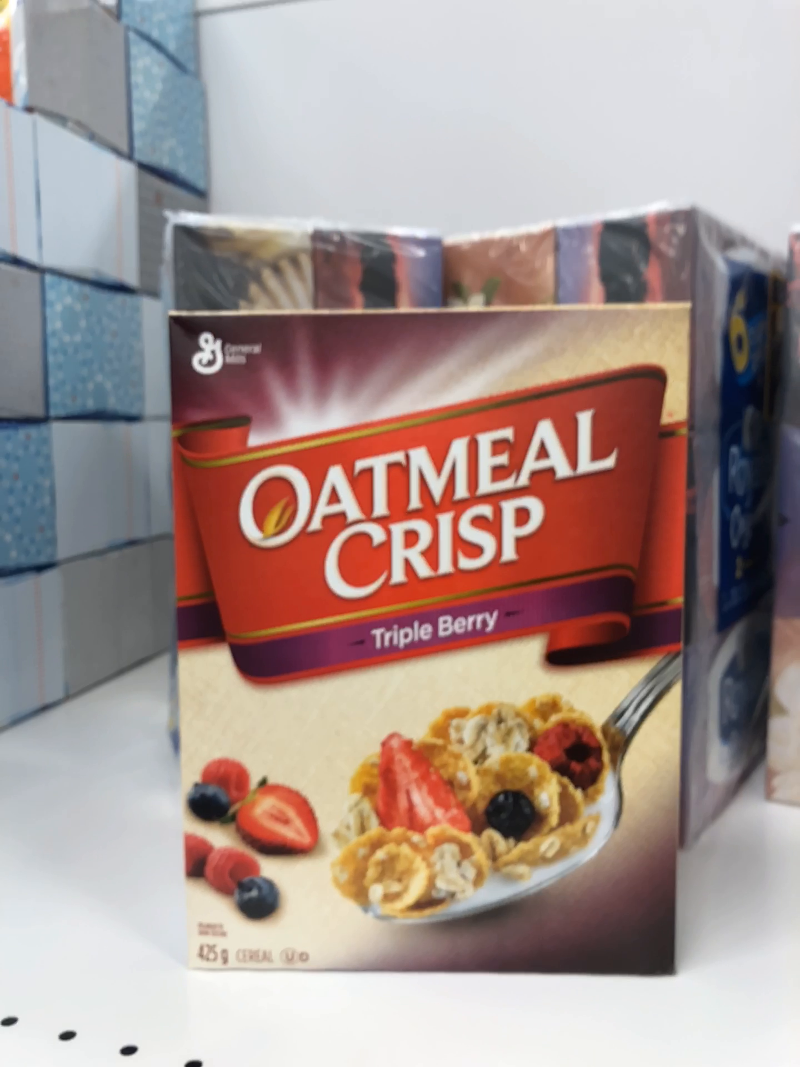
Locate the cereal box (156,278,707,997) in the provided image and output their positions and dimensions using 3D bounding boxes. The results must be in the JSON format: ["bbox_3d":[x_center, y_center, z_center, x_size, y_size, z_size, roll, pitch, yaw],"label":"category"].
[{"bbox_3d":[0.012,0.040,0.370,0.200,0.270,0.060,0,5,3],"label":"cereal box"}]
